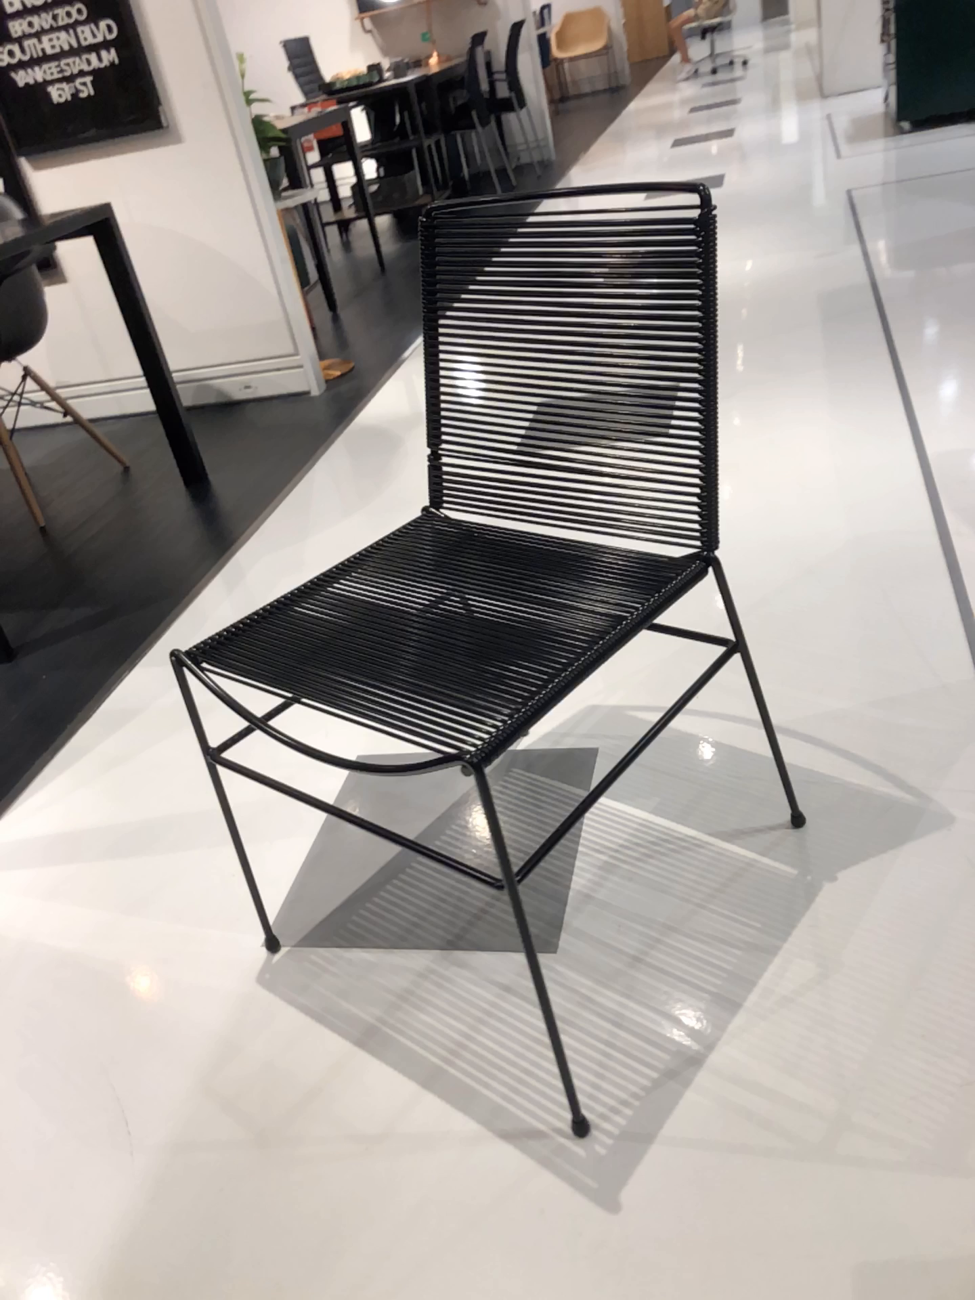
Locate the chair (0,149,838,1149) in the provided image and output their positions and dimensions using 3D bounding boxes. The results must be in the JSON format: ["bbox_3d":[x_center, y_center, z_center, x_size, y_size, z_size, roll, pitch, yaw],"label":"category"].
[{"bbox_3d":[0.003,-0.043,1.198,0.521,0.794,0.583,14,40,39],"label":"chair"}]
